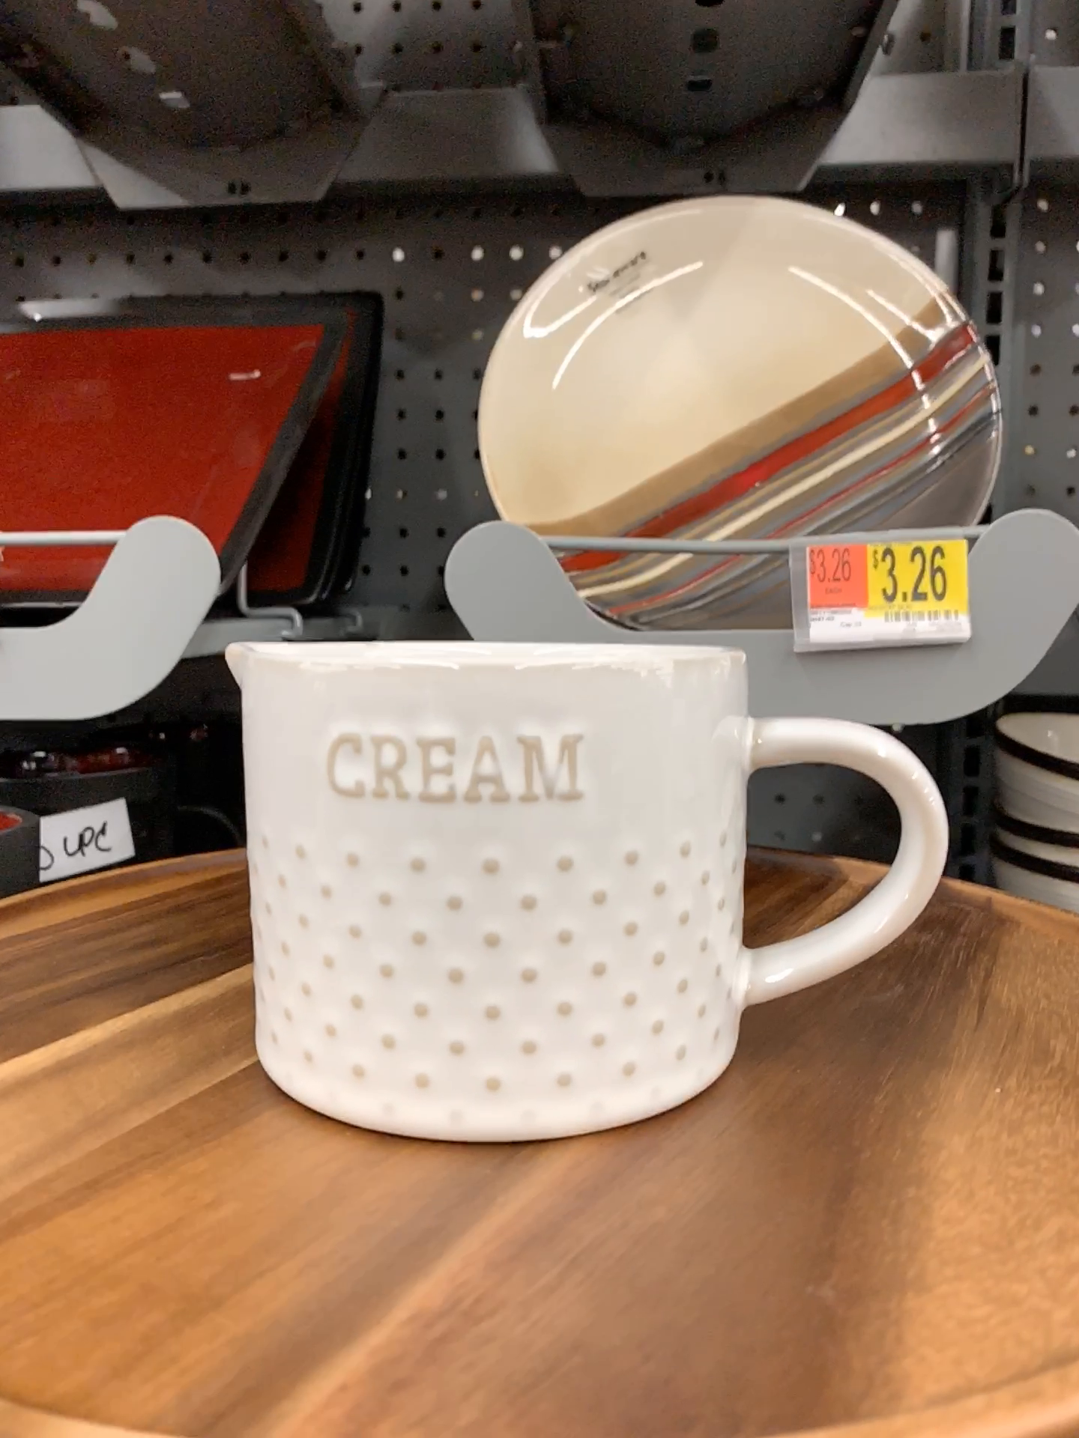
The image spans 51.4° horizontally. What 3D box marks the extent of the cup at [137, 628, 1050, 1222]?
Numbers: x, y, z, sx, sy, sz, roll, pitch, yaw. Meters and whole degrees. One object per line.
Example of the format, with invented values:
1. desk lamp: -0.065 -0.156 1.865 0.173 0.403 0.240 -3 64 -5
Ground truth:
1. cup: 0.012 0.028 0.237 0.150 0.090 0.100 1 6 9
